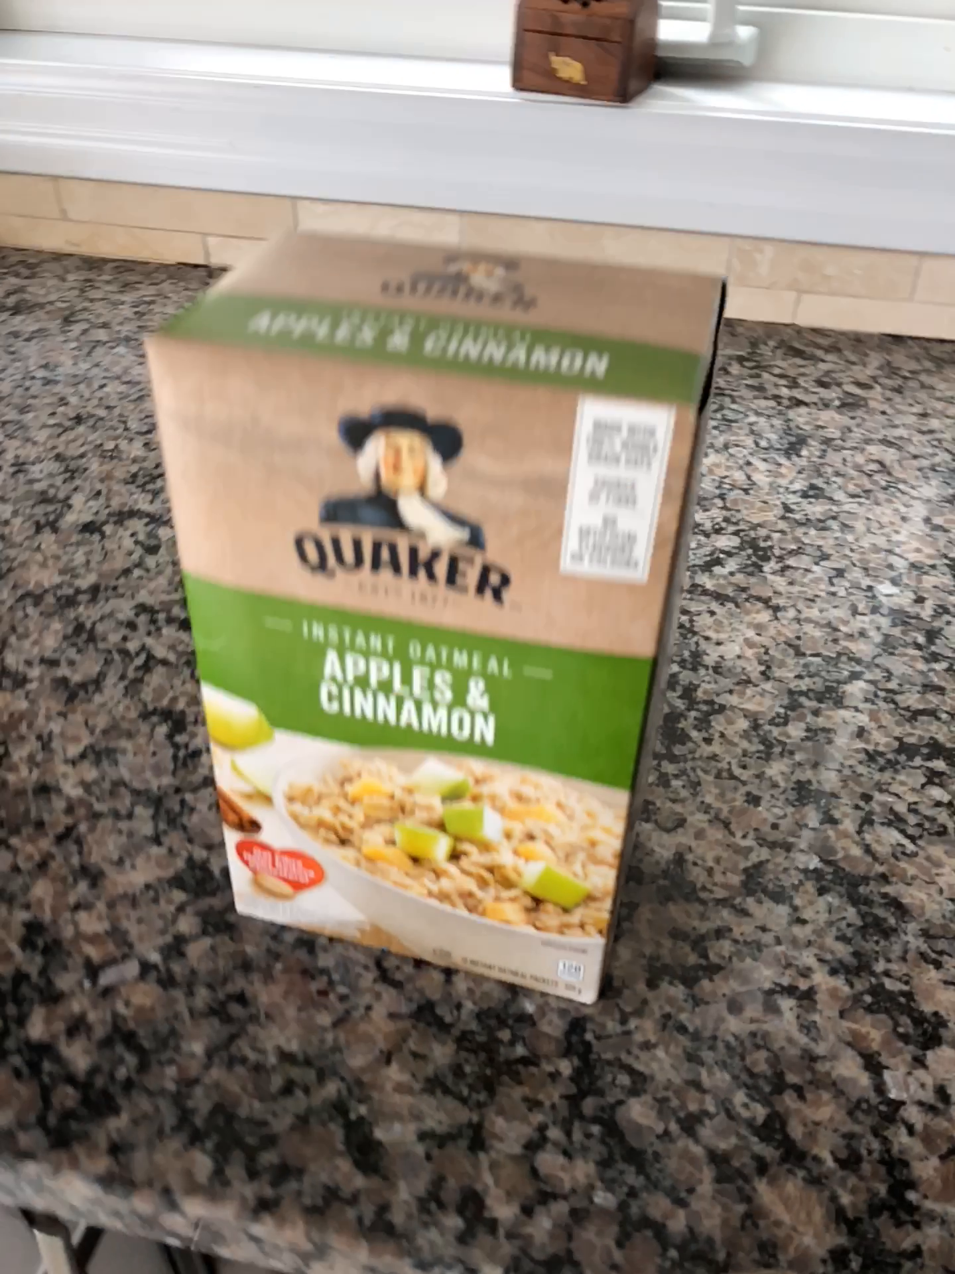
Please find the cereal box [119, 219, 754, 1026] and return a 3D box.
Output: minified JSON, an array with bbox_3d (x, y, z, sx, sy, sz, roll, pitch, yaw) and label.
[{"bbox_3d":[-0.006,0.003,0.317,0.130,0.209,0.090,11,40,11],"label":"cereal box"}]
